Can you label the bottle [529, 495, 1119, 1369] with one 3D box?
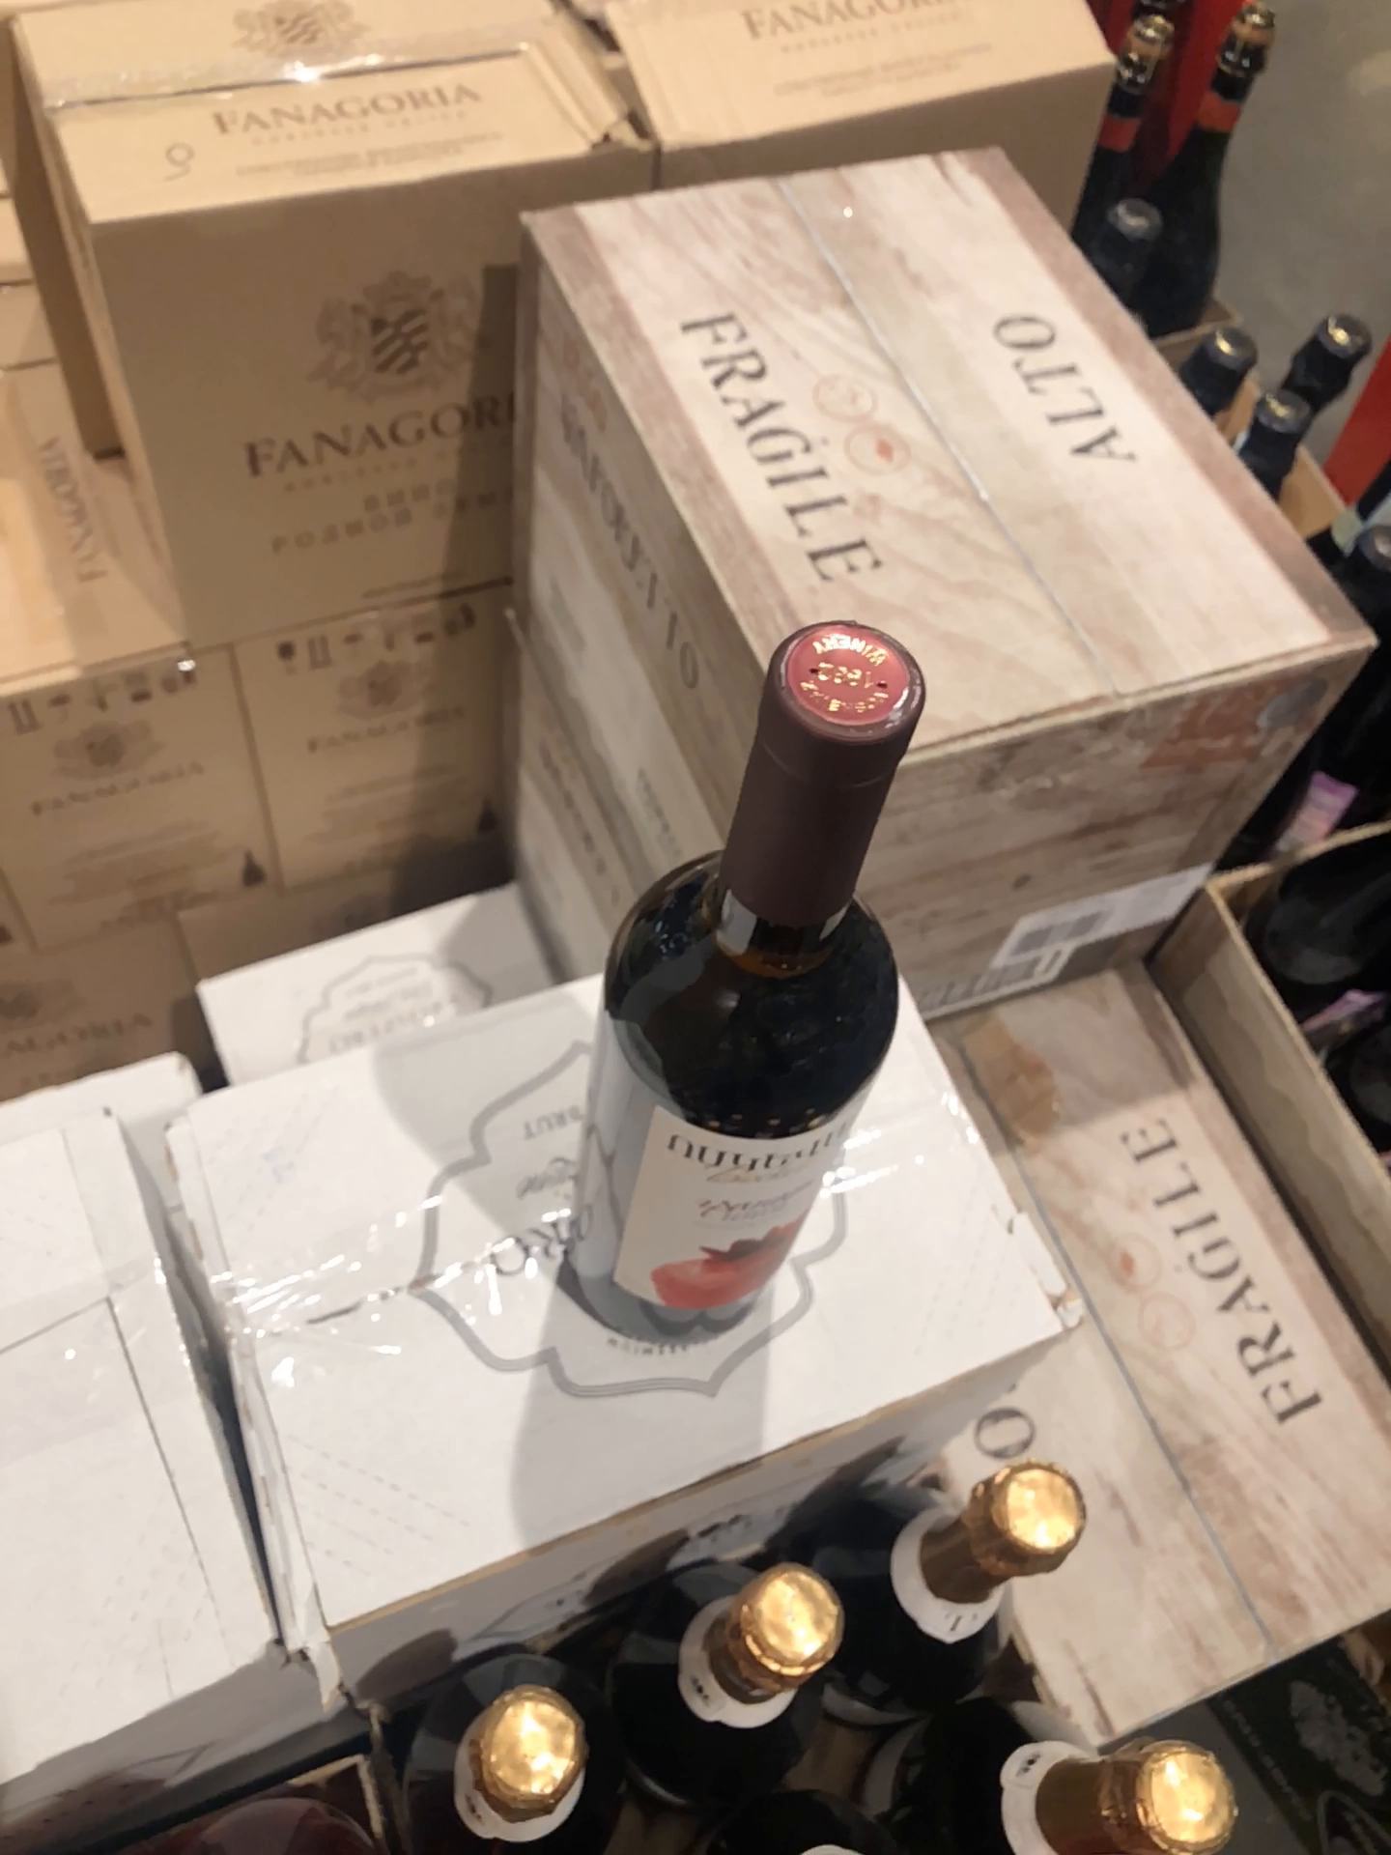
[{"bbox_3d":[0.008,0.029,0.414,0.090,0.298,0.080,-8,60,-12],"label":"bottle"}]
